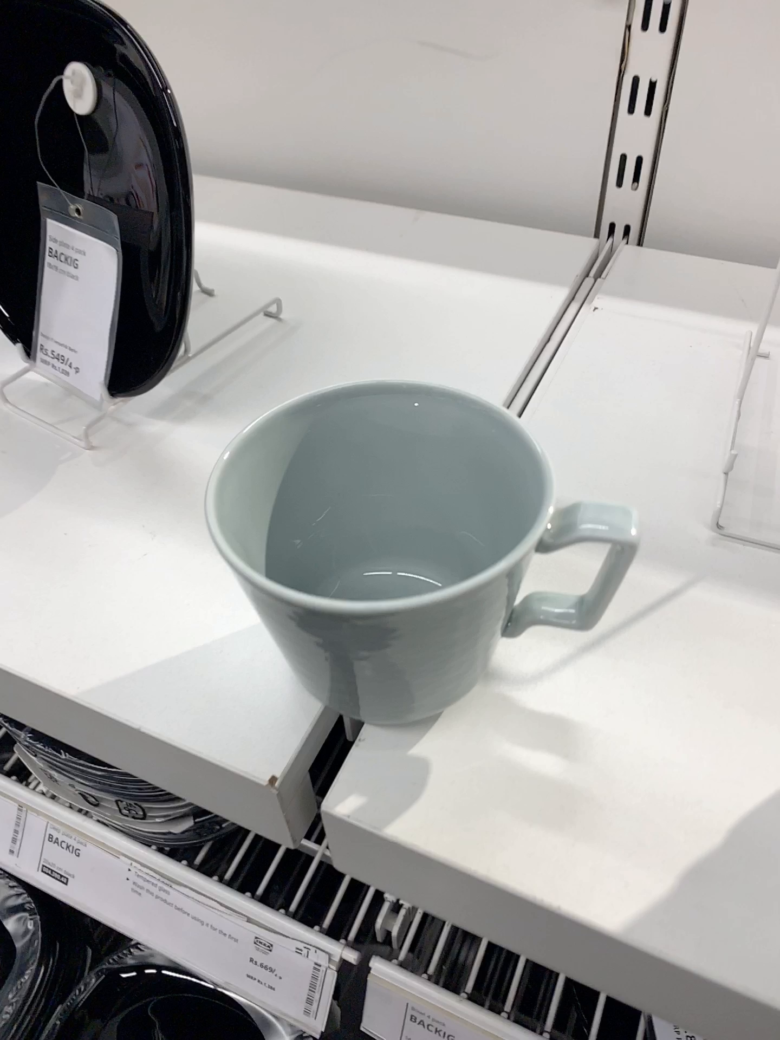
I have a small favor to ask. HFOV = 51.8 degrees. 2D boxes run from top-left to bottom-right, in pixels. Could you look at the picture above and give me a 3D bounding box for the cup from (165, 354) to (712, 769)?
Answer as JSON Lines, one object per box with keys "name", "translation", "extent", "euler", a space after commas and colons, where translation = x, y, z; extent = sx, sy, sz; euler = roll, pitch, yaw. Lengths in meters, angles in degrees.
{"name": "cup", "translation": [0.010, 0.009, 0.250], "extent": [0.130, 0.070, 0.100], "euler": [-4, 44, -2]}
